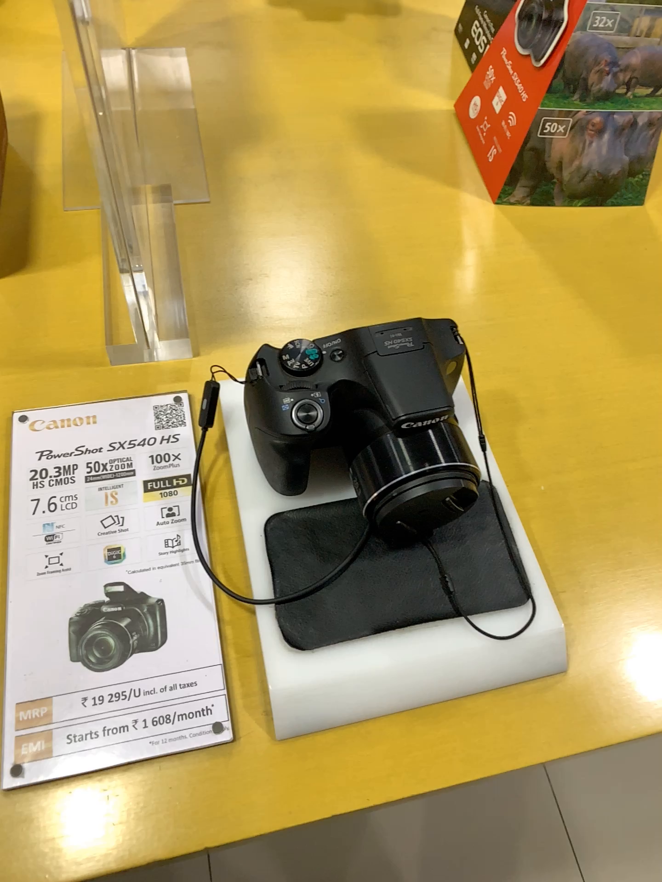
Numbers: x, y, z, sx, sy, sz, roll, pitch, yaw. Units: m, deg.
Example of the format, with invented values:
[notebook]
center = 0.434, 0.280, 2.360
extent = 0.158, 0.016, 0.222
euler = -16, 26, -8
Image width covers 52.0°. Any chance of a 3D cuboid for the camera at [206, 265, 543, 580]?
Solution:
[camera]
center = 0.014, -0.011, 0.330
extent = 0.120, 0.070, 0.110
euler = -13, 60, -12
